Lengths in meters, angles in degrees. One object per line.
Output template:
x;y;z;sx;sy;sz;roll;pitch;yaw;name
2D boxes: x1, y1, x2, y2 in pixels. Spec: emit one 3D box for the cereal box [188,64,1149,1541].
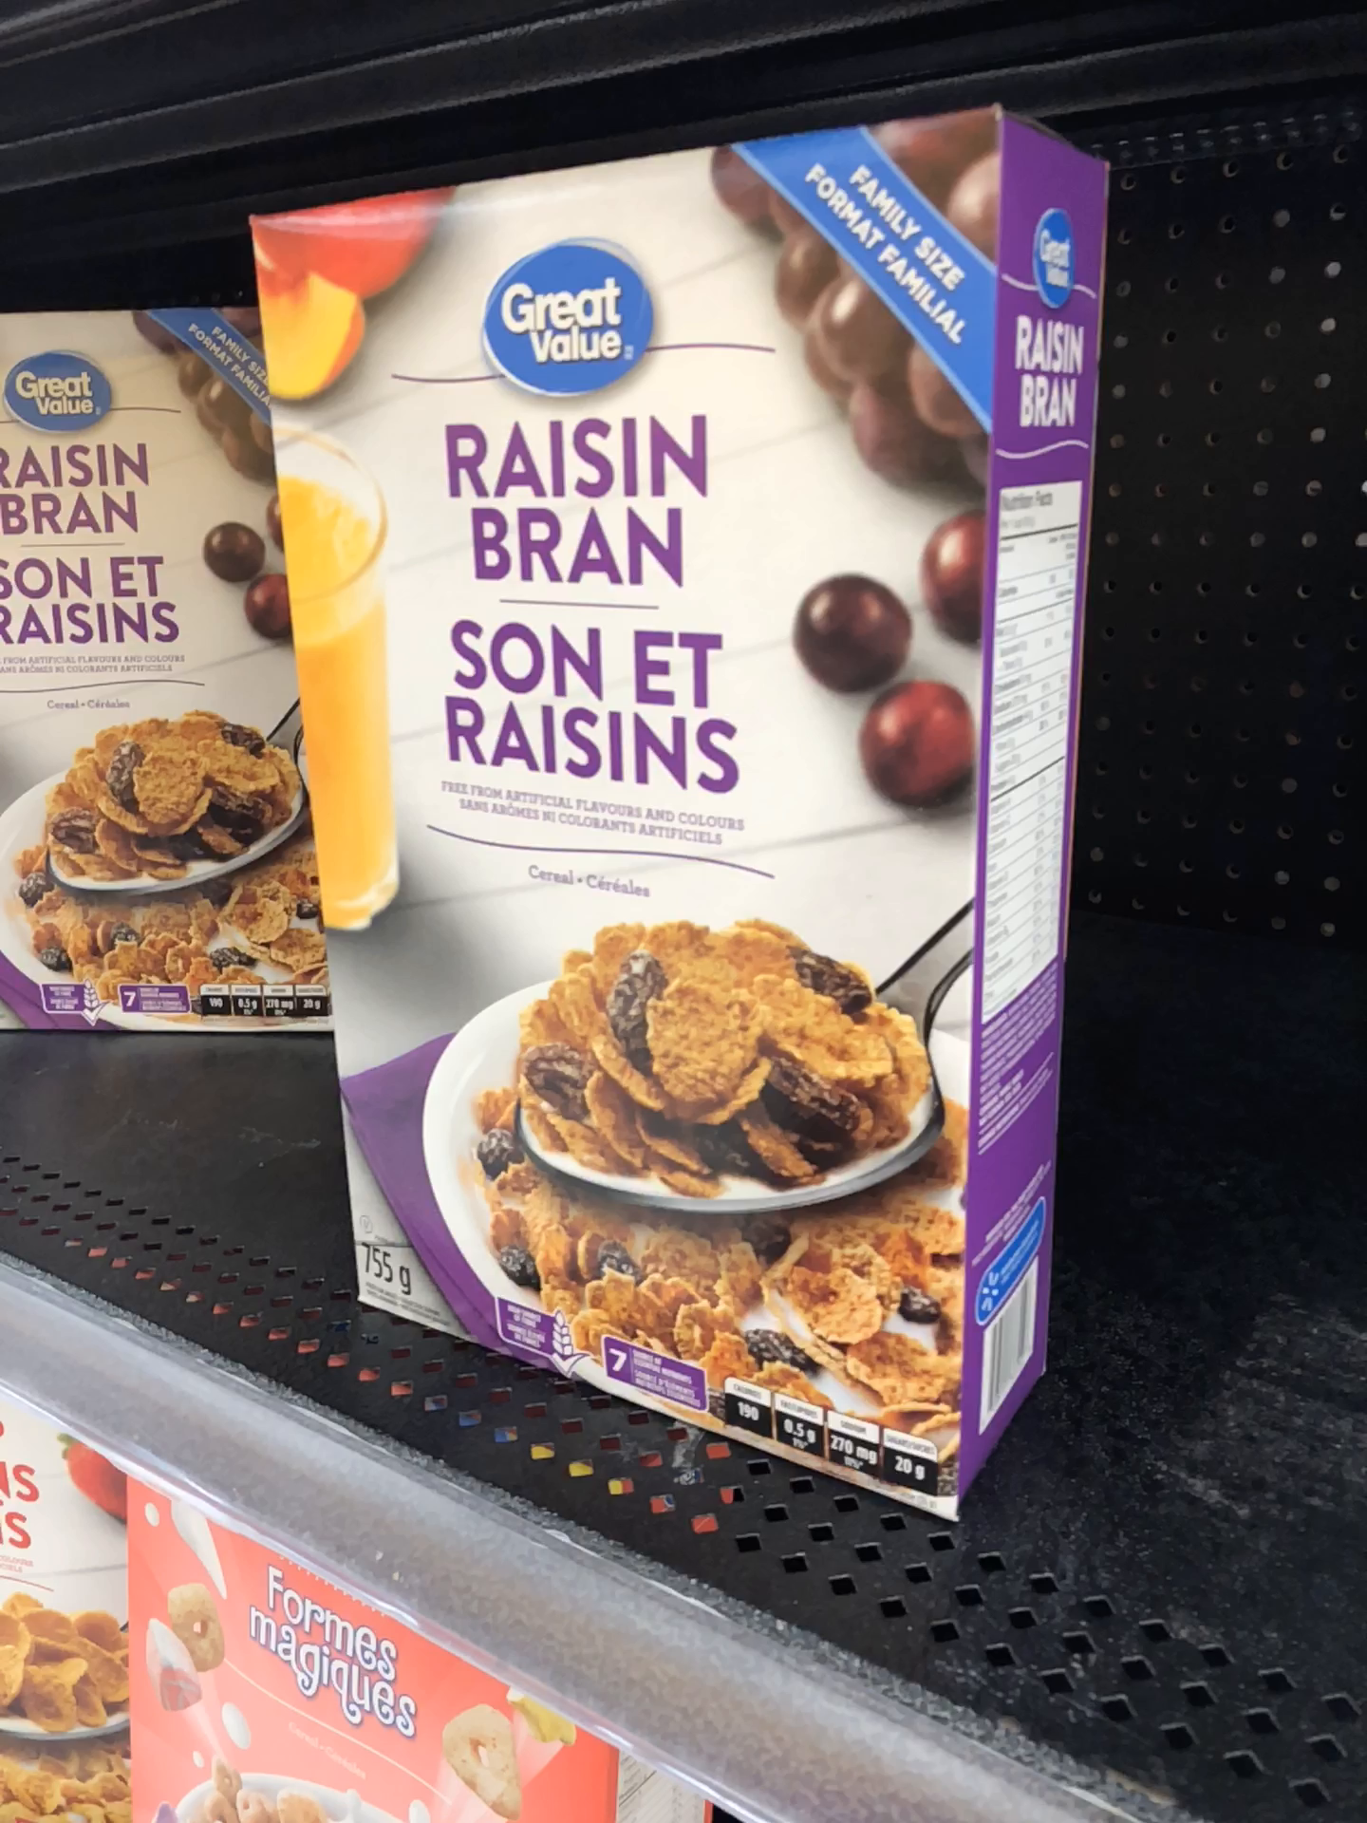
-0.008;-0.024;0.381;0.210;0.299;0.070;9;20;31;cereal box
